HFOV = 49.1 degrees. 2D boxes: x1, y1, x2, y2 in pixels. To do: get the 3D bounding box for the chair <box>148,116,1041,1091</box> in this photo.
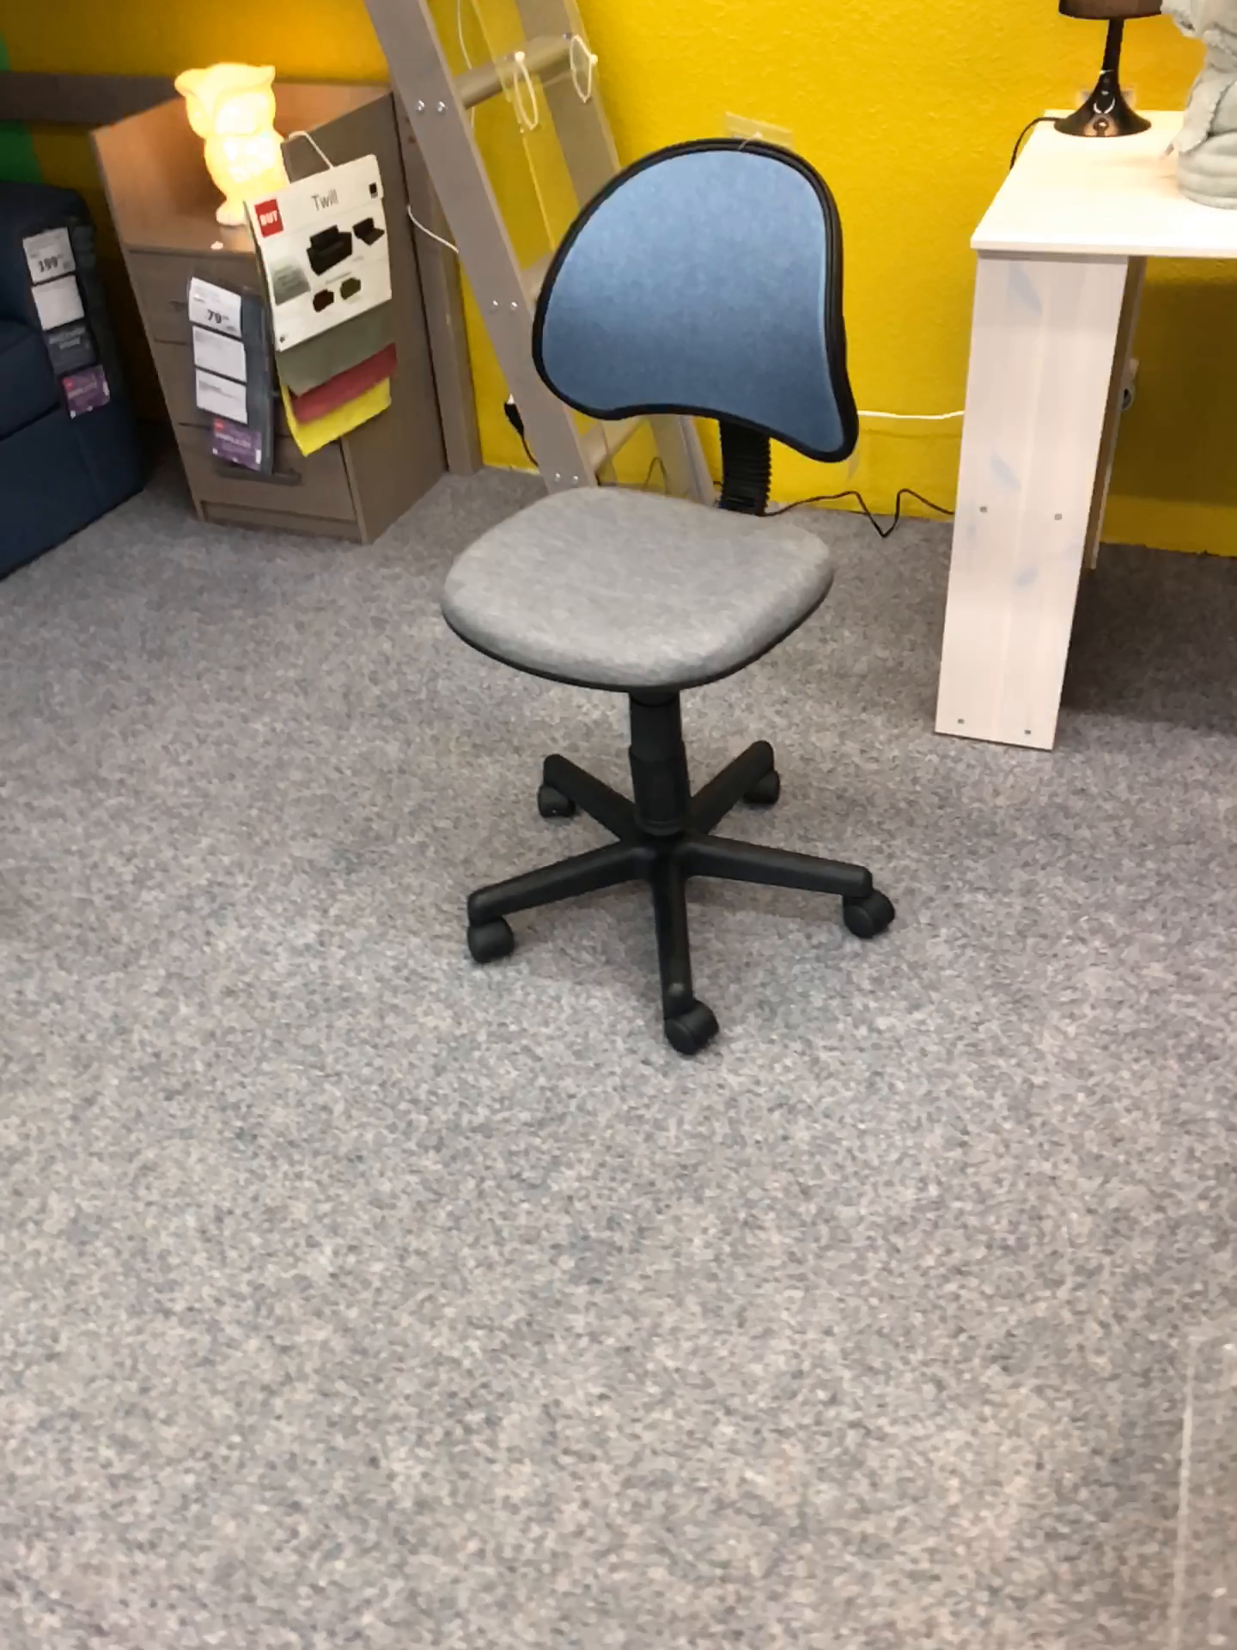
[{"bbox_3d":[0.024,-0.262,1.436,0.600,0.746,0.563,16,43,23],"label":"chair"}]
